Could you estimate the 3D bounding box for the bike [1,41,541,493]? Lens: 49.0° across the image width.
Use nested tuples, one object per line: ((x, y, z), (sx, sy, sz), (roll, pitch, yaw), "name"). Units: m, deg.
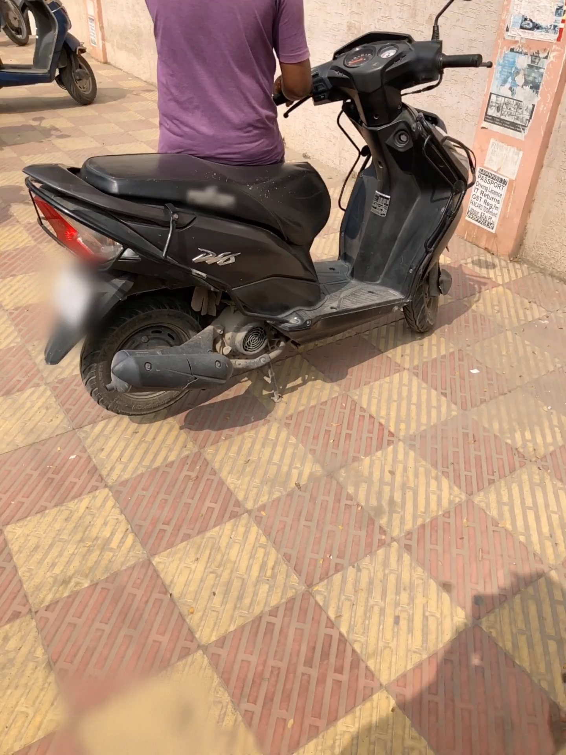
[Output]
((0.054, -0.476, 2.009), (1.513, 0.987, 0.575), (-23, 43, -34), "bike")
